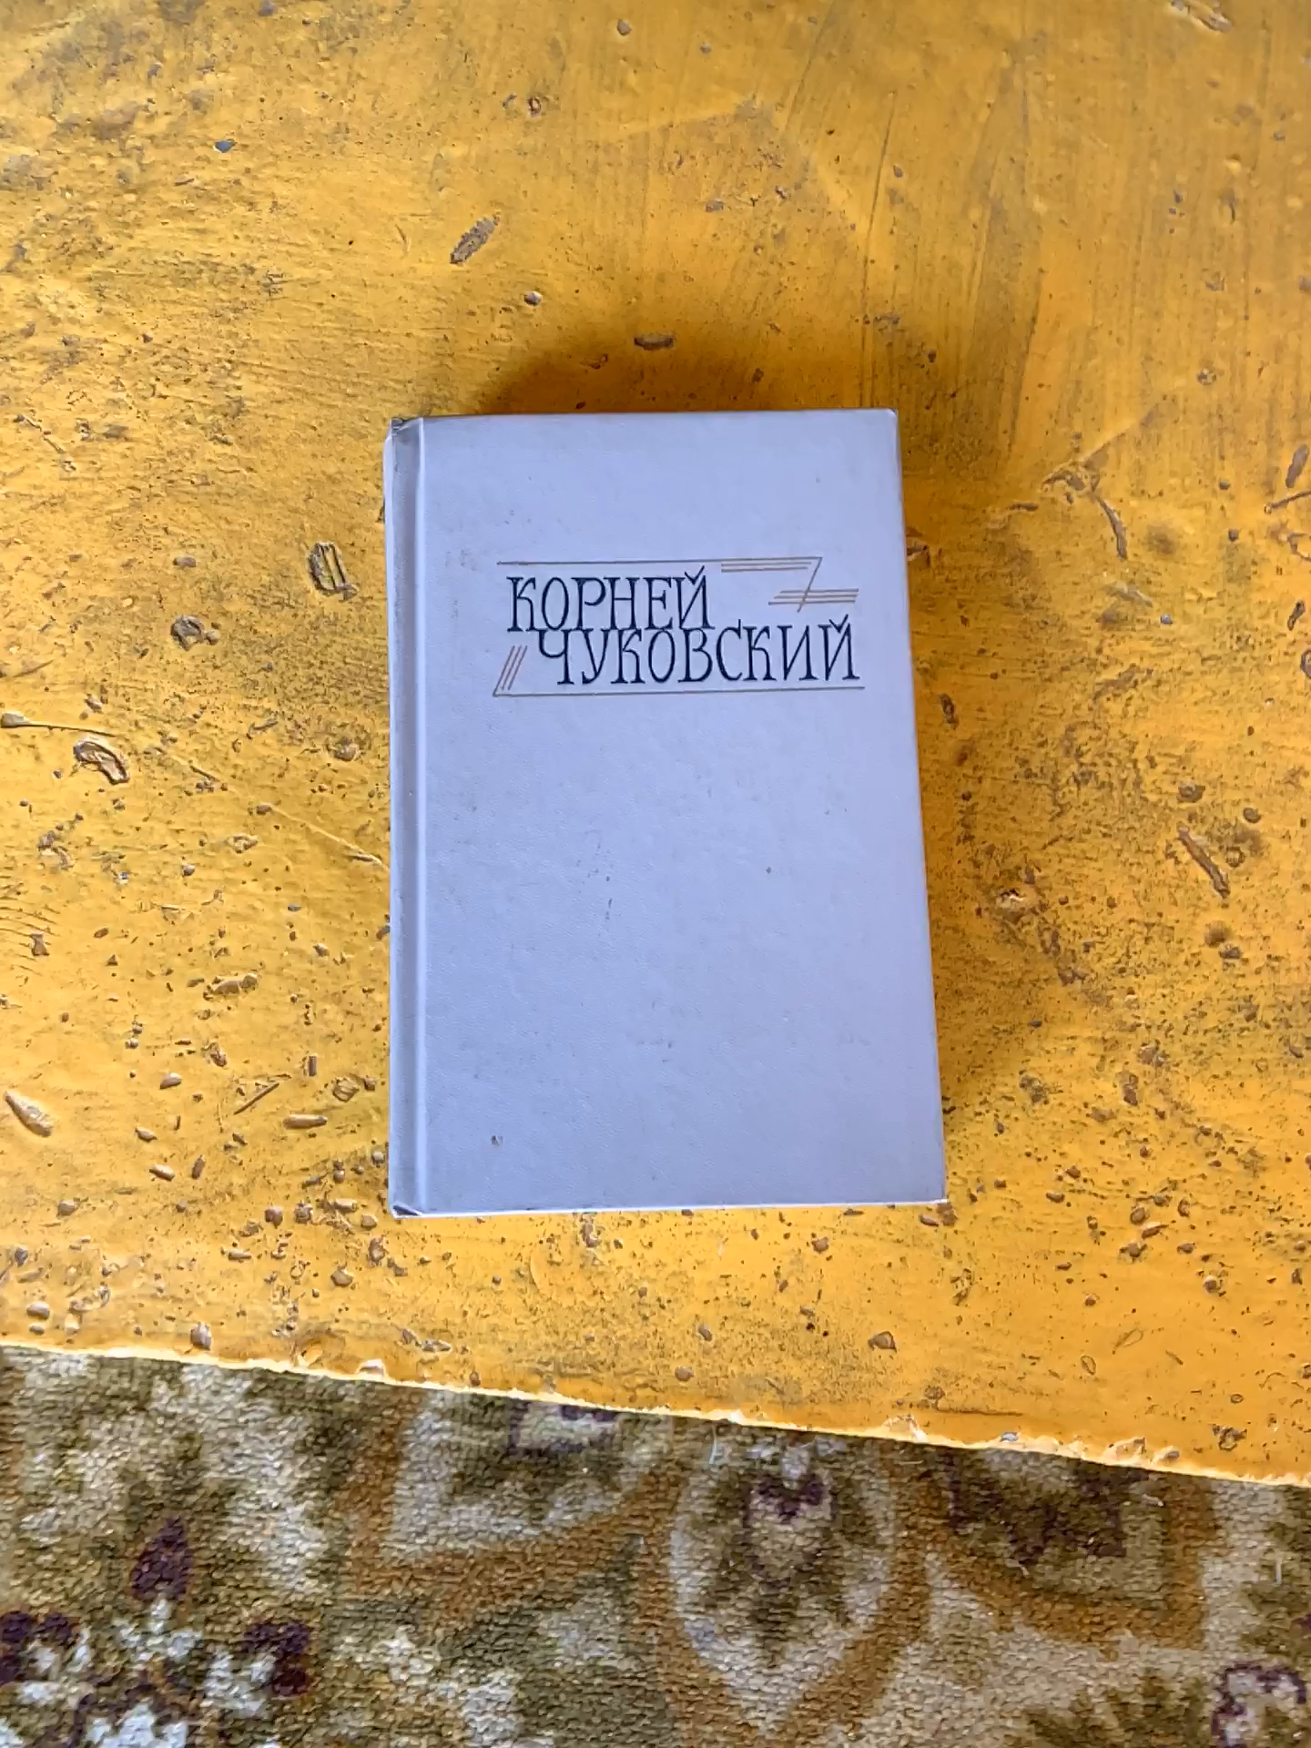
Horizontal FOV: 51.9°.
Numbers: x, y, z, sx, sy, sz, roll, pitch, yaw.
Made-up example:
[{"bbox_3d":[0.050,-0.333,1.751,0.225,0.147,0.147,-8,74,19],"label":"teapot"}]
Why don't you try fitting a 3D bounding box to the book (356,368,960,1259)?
[{"bbox_3d":[-0.003,-0.018,0.342,0.139,0.031,0.216,-2,81,0],"label":"book"}]
